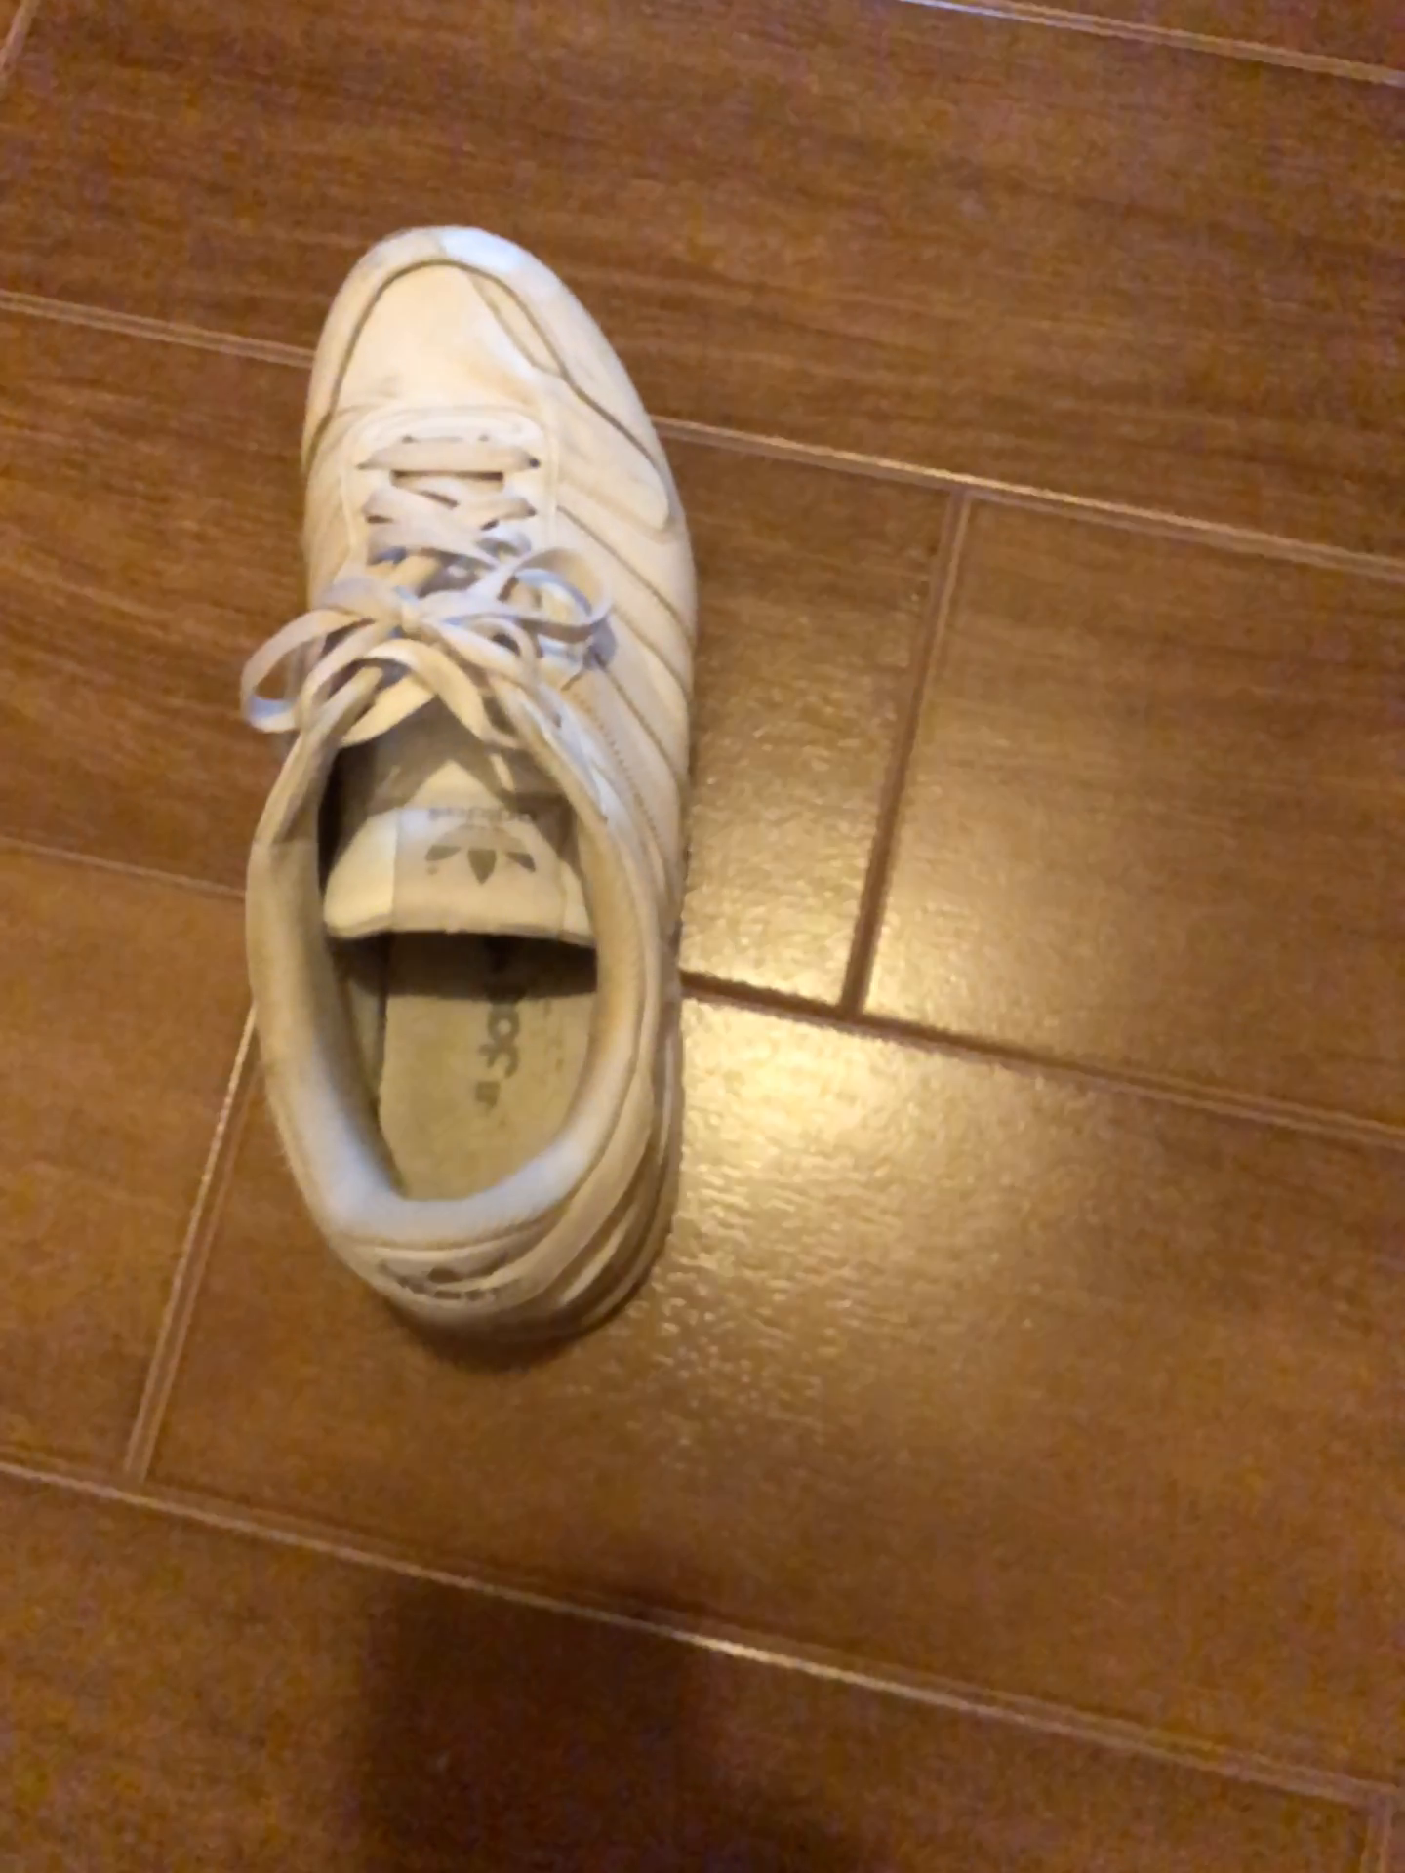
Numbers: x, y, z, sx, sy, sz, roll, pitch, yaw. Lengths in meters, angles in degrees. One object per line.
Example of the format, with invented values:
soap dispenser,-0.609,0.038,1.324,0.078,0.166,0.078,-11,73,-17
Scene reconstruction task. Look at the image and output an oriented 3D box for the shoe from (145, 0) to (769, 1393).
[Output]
shoe,-0.053,-0.054,0.393,0.120,0.120,0.310,-3,78,0
